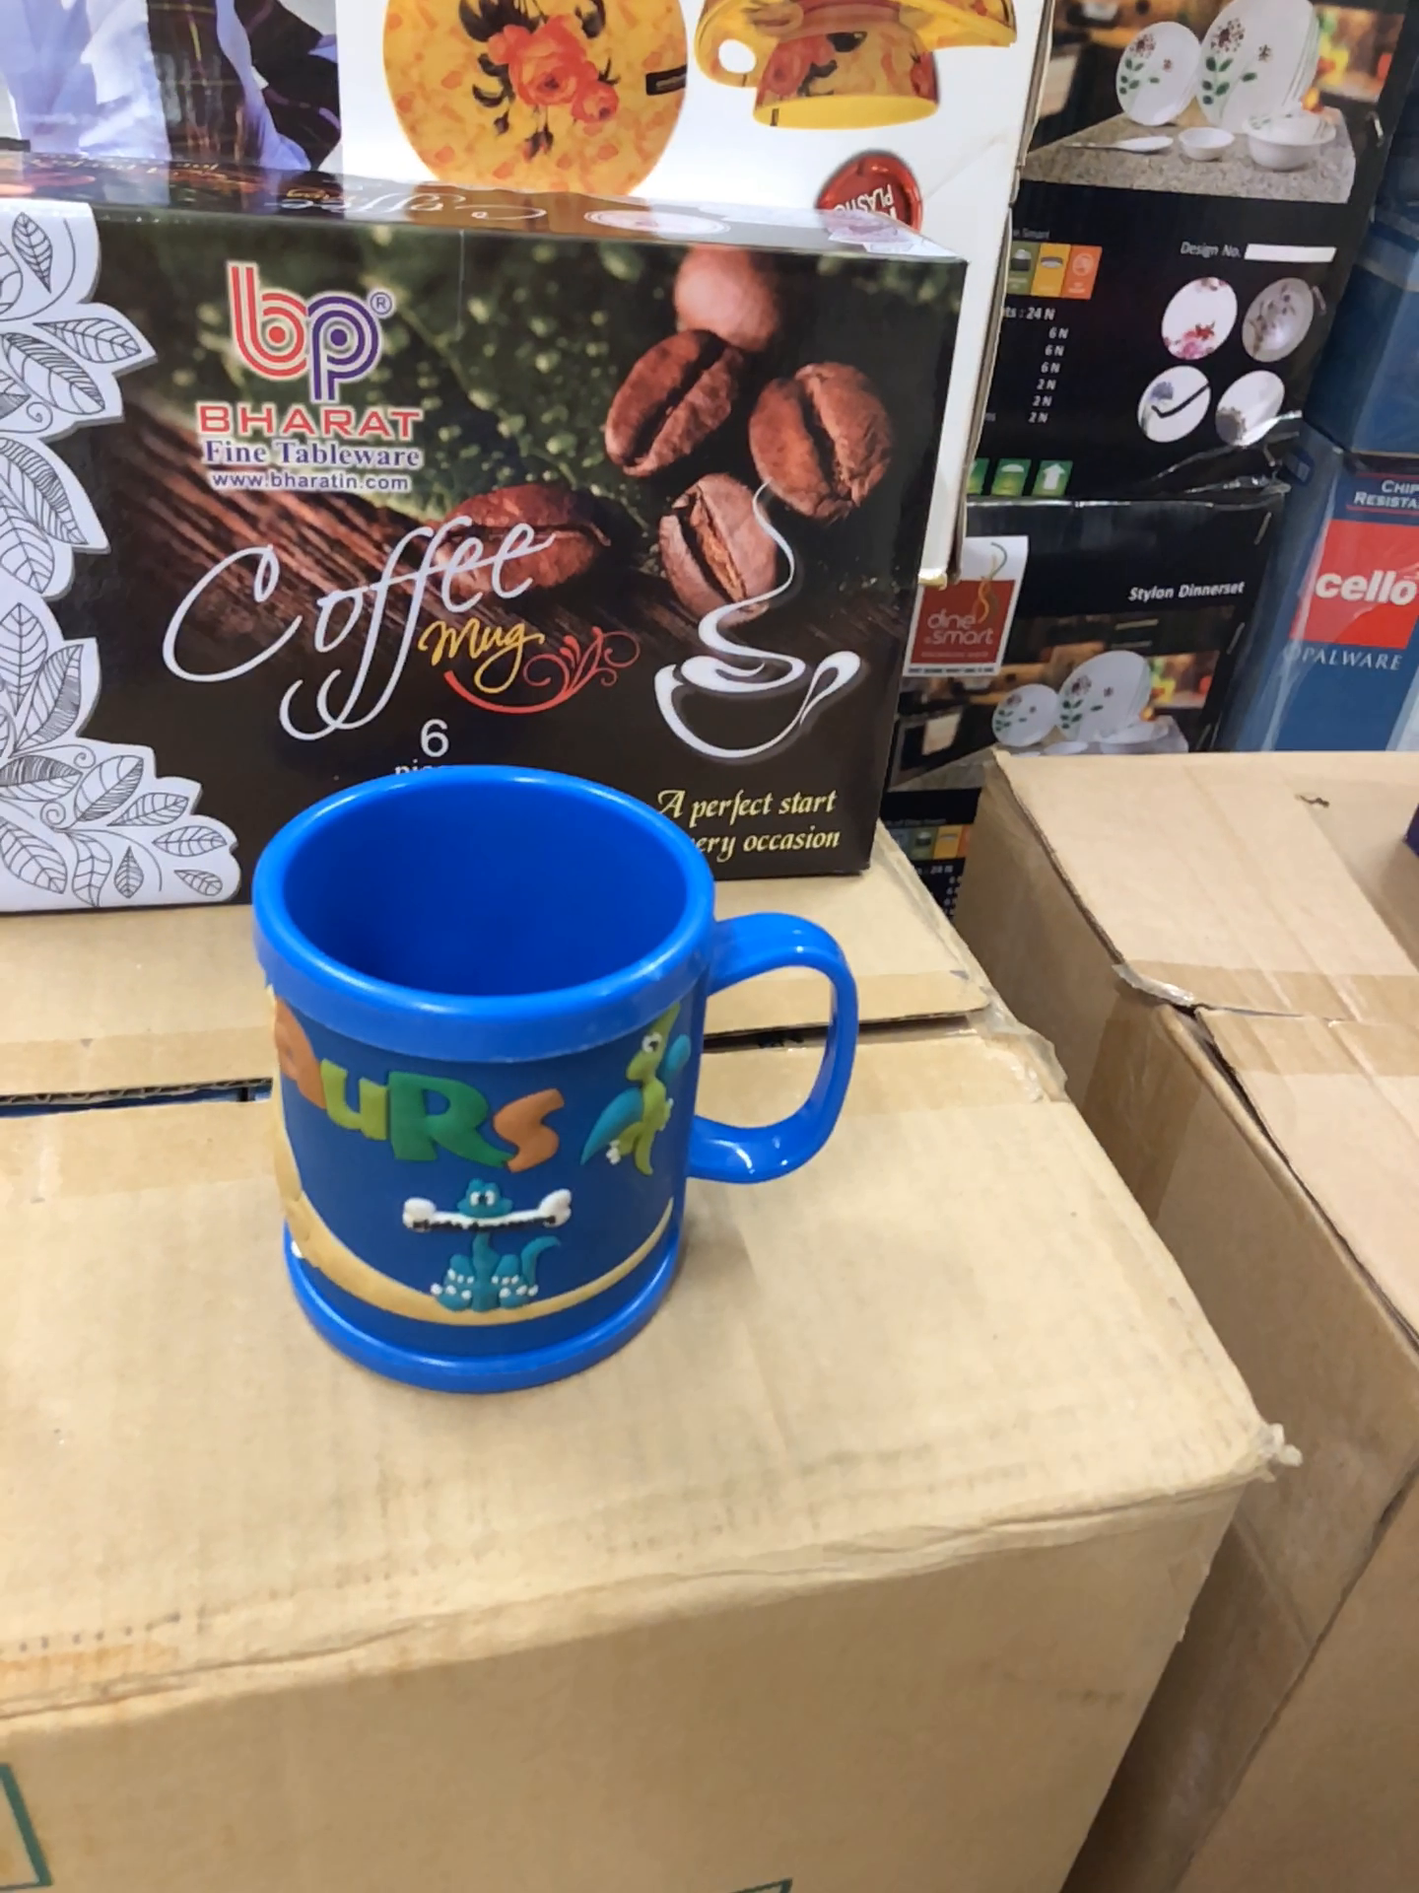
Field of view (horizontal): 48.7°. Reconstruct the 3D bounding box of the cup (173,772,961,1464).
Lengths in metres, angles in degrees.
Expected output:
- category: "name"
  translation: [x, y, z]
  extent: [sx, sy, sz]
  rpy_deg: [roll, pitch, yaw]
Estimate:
- category: "cup"
  translation: [-0.030, 0.029, 0.301]
  extent: [0.120, 0.089, 0.091]
  rpy_deg: [0, 36, -10]
